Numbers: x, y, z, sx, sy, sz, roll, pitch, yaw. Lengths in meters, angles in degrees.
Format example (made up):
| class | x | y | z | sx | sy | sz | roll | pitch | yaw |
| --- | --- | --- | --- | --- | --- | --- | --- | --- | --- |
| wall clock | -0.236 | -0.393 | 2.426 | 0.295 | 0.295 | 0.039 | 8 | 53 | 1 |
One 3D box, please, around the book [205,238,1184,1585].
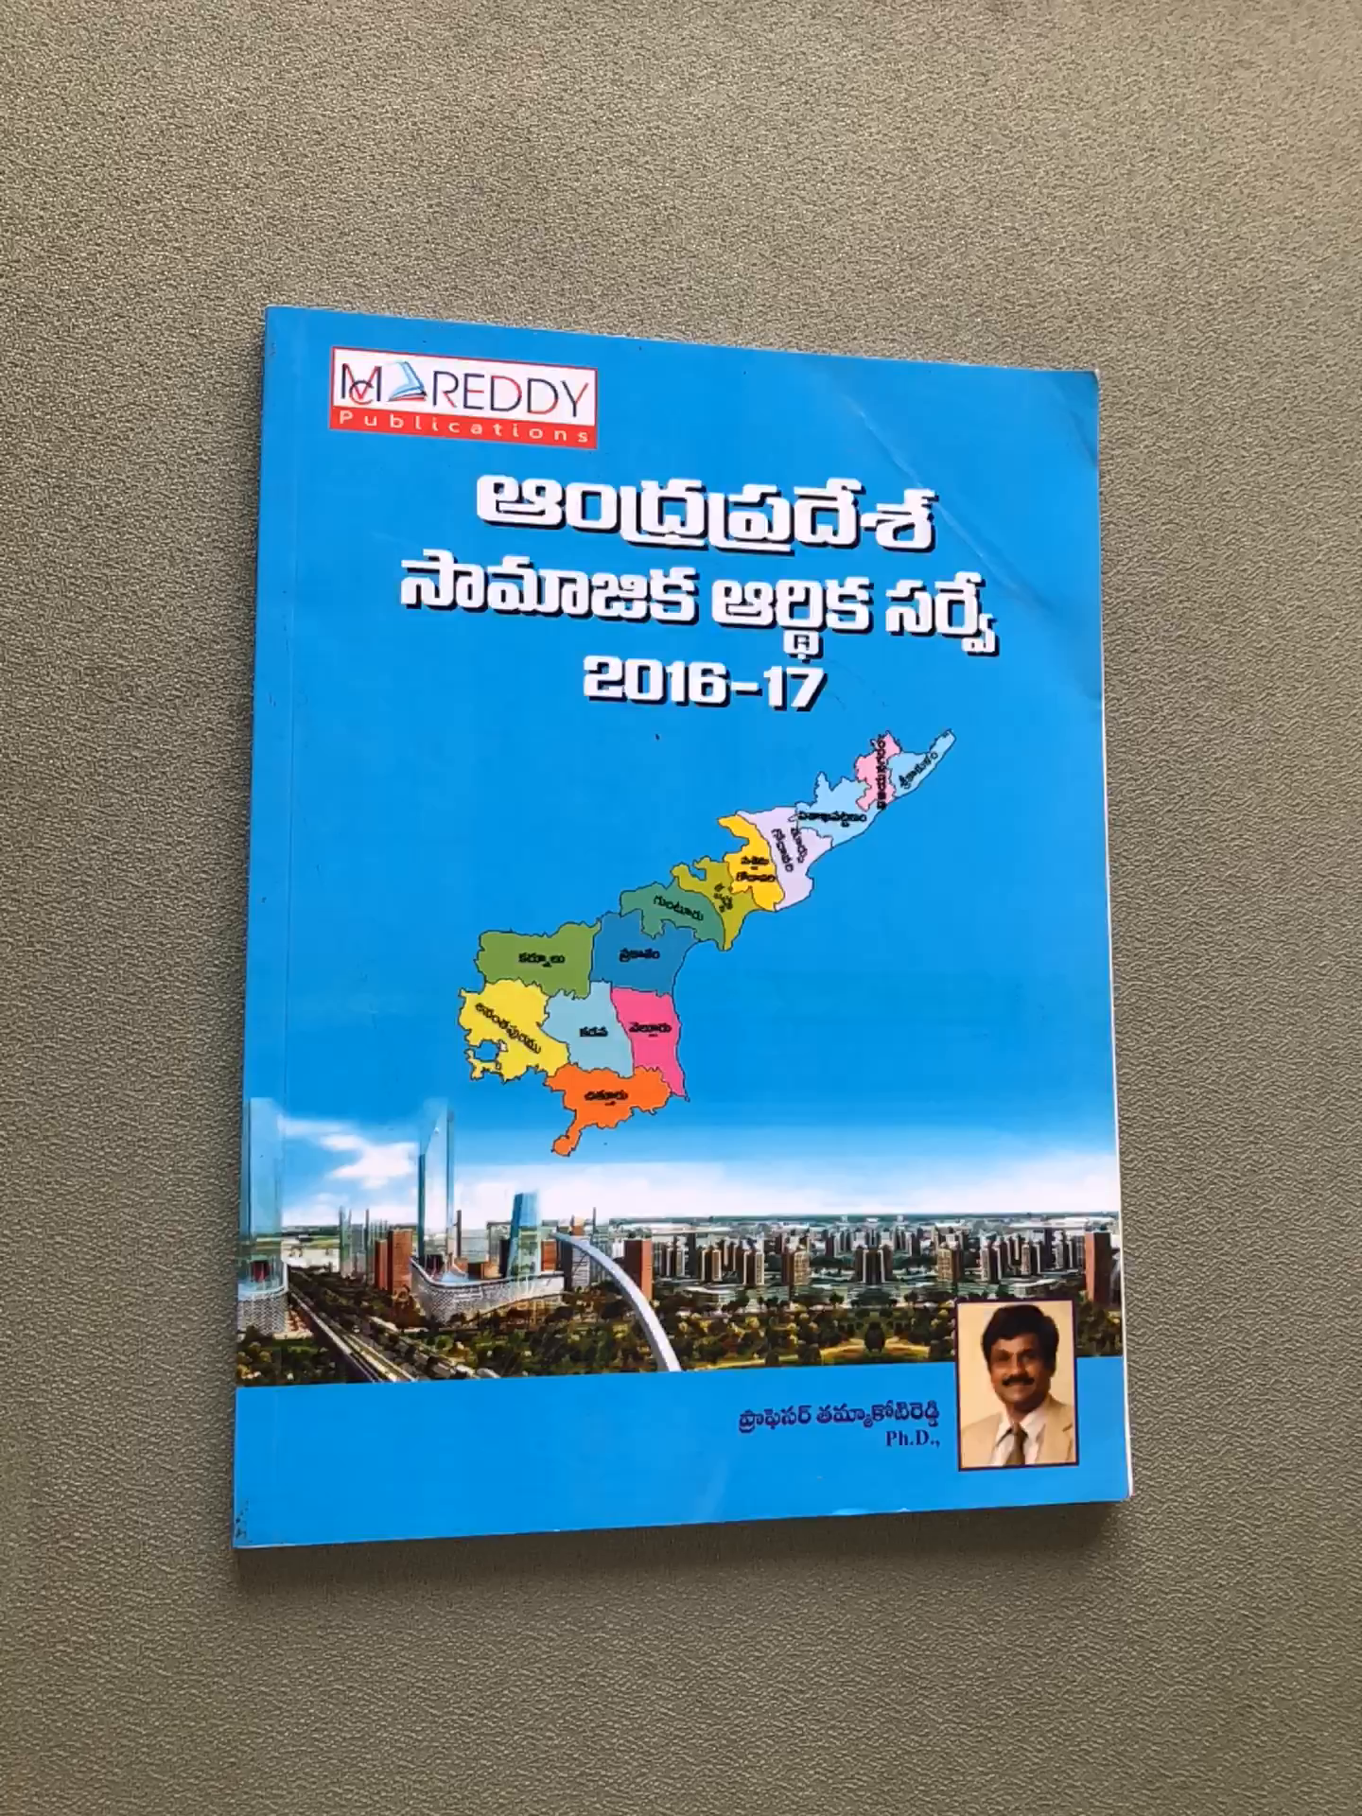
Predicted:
| class | x | y | z | sx | sy | sz | roll | pitch | yaw |
| --- | --- | --- | --- | --- | --- | --- | --- | --- | --- |
| book | 0.006 | -0.002 | 0.294 | 0.180 | 0.020 | 0.240 | 1 | 85 | -10 |
